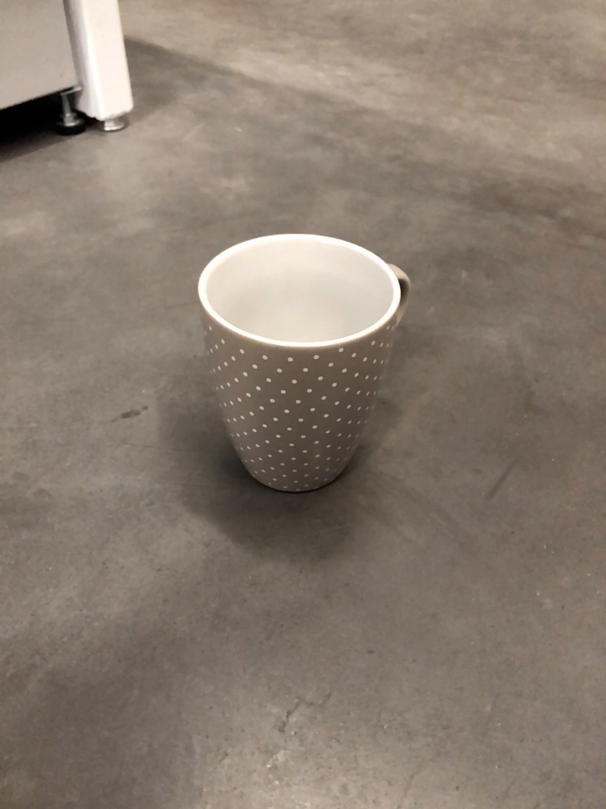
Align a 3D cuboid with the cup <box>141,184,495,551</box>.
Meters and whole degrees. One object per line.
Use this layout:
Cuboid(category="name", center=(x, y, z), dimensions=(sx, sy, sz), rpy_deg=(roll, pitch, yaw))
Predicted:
Cuboid(category="cup", center=(0.010, -0.026, 0.344), dimensions=(0.091, 0.107, 0.142), rpy_deg=(33, 51, 29))
